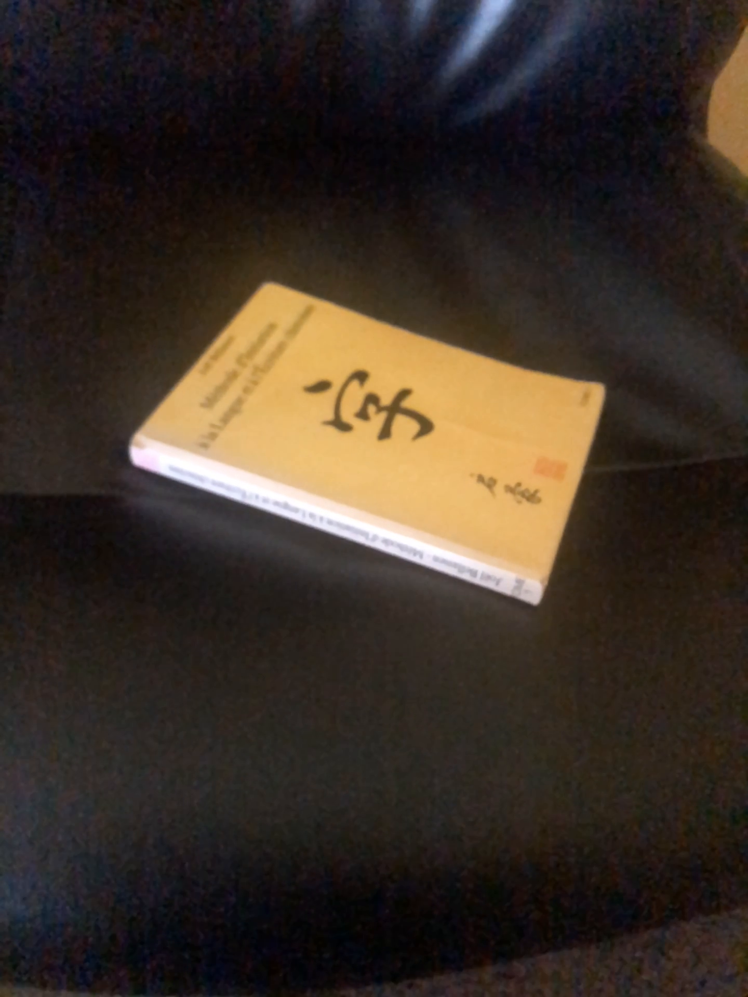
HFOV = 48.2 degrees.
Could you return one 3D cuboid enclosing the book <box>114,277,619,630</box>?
[{"bbox_3d":[0.002,-0.037,0.445,0.220,0.028,0.153,19,52,13],"label":"book"}]
